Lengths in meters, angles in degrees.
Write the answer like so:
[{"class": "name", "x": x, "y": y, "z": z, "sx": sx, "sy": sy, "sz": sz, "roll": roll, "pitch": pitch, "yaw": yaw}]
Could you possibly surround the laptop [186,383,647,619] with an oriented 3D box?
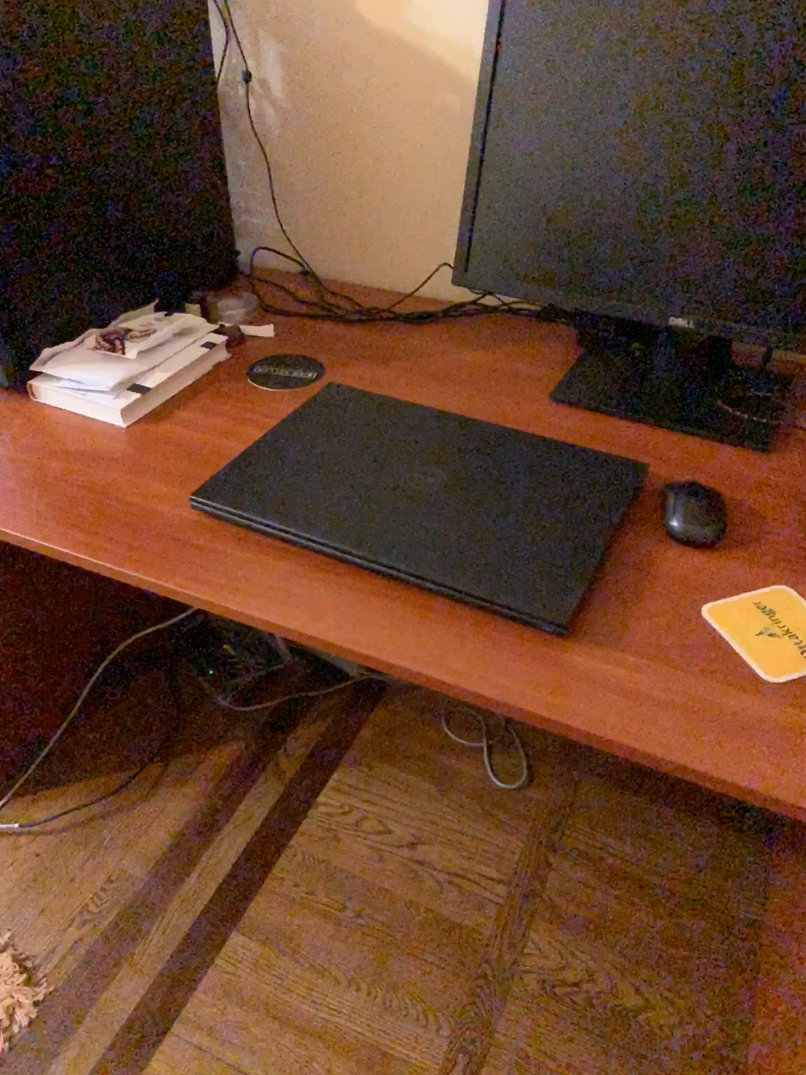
[{"class": "laptop", "x": 0.020, "y": -0.055, "z": 0.760, "sx": 0.351, "sy": 0.001, "sz": 0.248, "roll": 18, "pitch": 40, "yaw": 20}]
